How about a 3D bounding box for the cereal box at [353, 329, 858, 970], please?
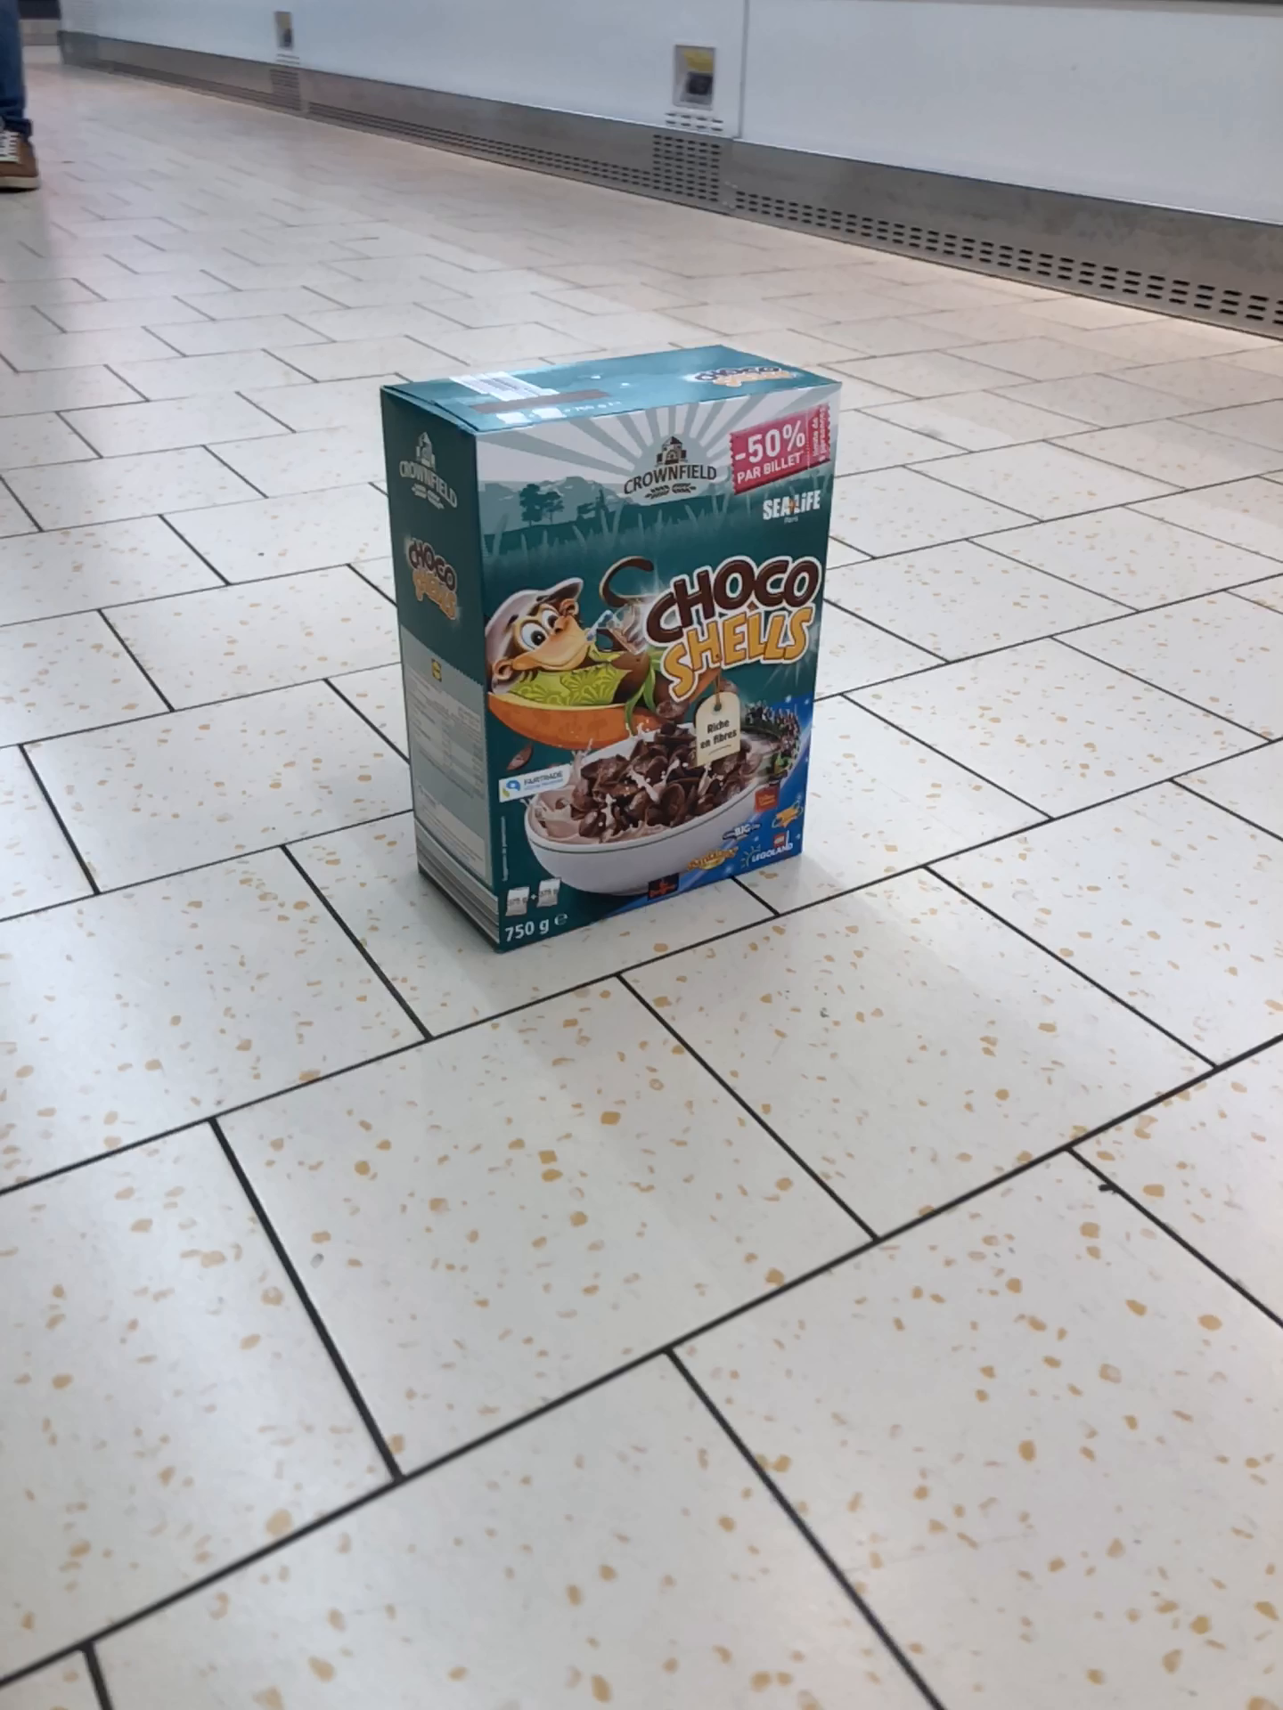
[{"bbox_3d":[-0.017,-0.108,0.714,0.211,0.268,0.100,-17,35,-28],"label":"cereal box"}]
